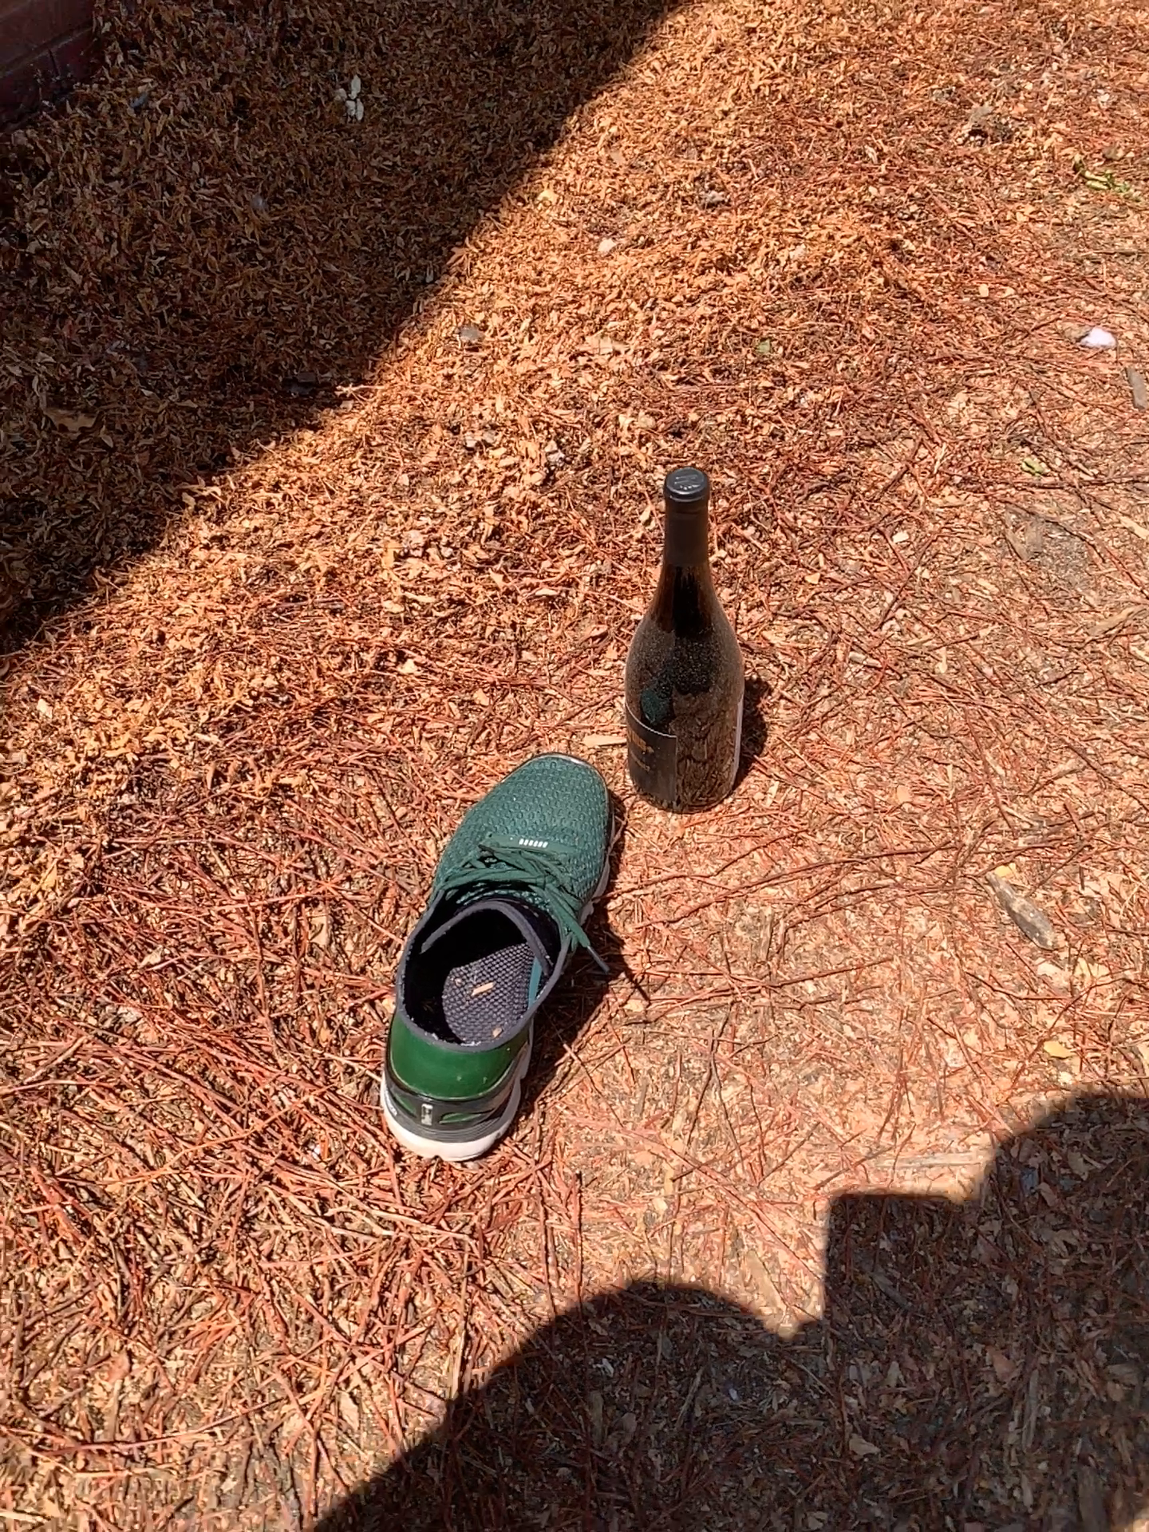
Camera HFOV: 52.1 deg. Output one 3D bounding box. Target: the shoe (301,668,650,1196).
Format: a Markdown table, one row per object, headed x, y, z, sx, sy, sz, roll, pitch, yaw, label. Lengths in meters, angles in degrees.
| x | y | z | sx | sy | sz | roll | pitch | yaw | label |
| --- | --- | --- | --- | --- | --- | --- | --- | --- | --- |
| -0.047 | 0.091 | 0.767 | 0.130 | 0.100 | 0.321 | 10 | 50 | 9 | shoe |
